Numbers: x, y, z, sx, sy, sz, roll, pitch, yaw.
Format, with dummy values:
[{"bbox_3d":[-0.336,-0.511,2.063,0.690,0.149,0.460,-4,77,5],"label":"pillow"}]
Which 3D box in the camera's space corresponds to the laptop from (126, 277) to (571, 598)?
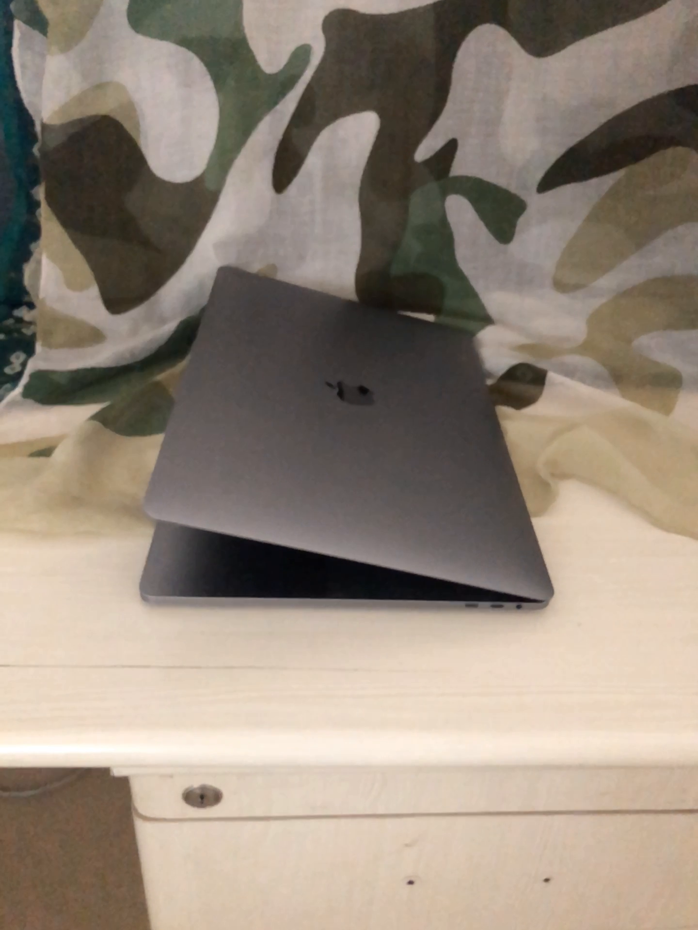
[{"bbox_3d":[-0.001,-0.045,0.570,0.236,0.058,0.340,1,34,-1],"label":"laptop"}]
